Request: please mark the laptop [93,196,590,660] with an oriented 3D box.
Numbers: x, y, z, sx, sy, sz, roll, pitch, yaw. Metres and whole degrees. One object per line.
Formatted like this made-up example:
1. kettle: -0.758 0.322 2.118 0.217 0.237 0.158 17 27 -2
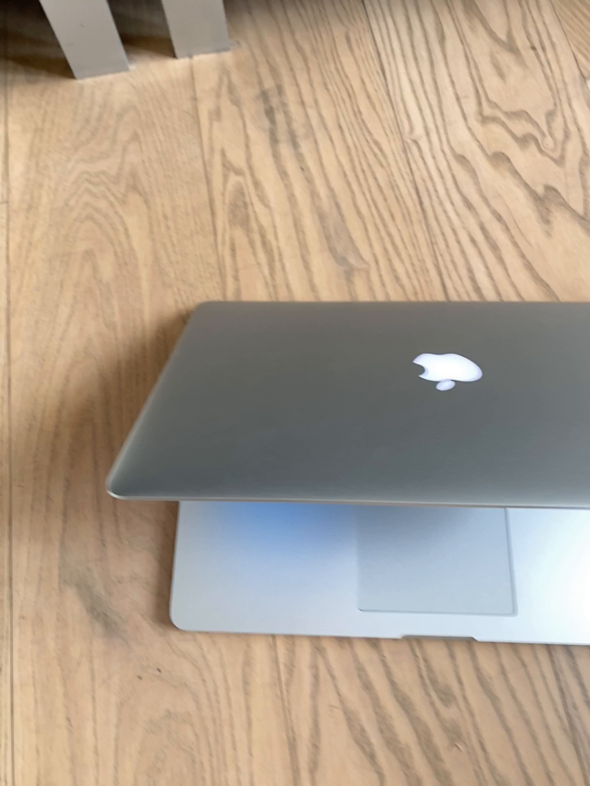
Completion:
1. laptop: 0.097 0.027 0.377 0.361 0.157 0.236 1 71 2
